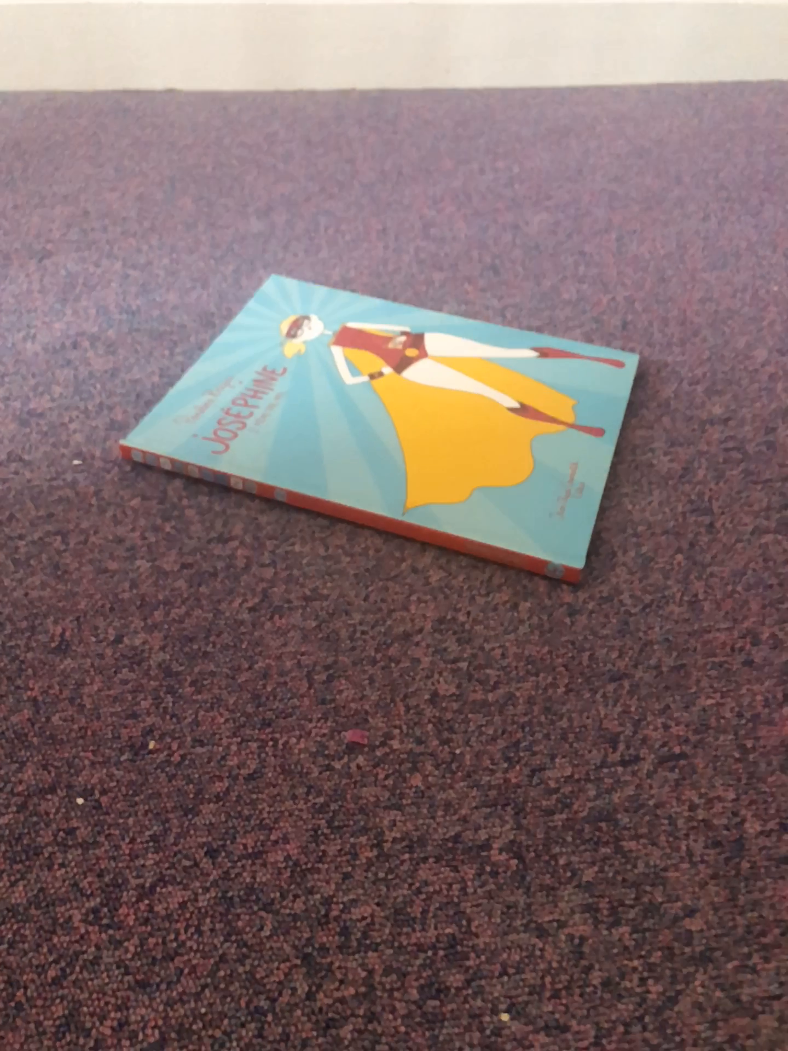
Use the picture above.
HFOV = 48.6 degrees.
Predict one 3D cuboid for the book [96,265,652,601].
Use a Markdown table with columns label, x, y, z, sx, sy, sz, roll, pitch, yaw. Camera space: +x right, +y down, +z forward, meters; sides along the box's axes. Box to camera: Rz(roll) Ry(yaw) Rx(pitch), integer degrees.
| label | x | y | z | sx | sy | sz | roll | pitch | yaw |
| --- | --- | --- | --- | --- | --- | --- | --- | --- | --- |
| book | 0.001 | -0.082 | 0.586 | 0.306 | 0.020 | 0.235 | 15 | 46 | 12 |
